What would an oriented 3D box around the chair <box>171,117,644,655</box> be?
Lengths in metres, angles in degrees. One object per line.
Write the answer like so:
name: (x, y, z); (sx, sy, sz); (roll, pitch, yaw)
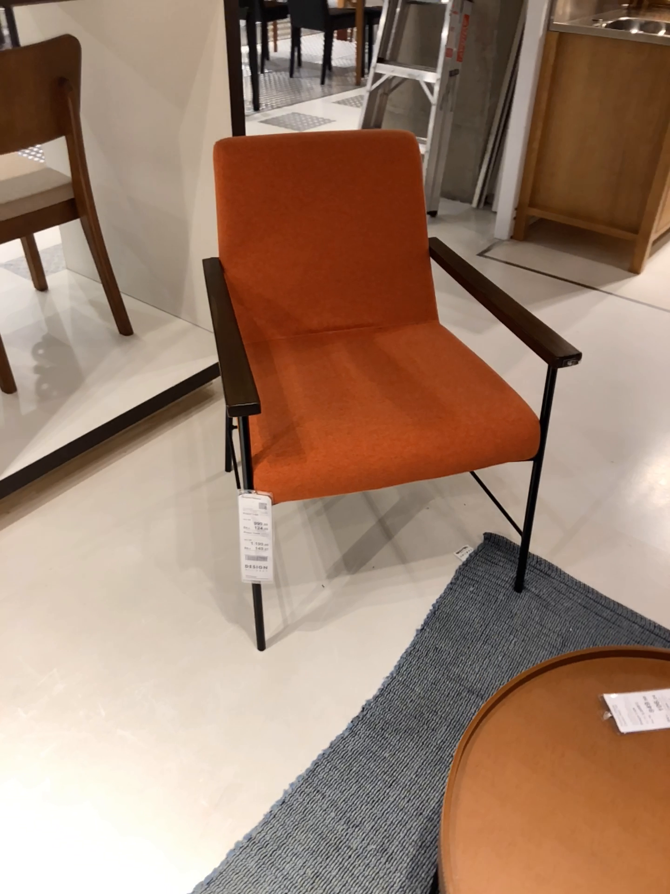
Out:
chair: (0.064, -0.167, 1.579); (0.651, 0.823, 0.705); (-9, 38, -13)
